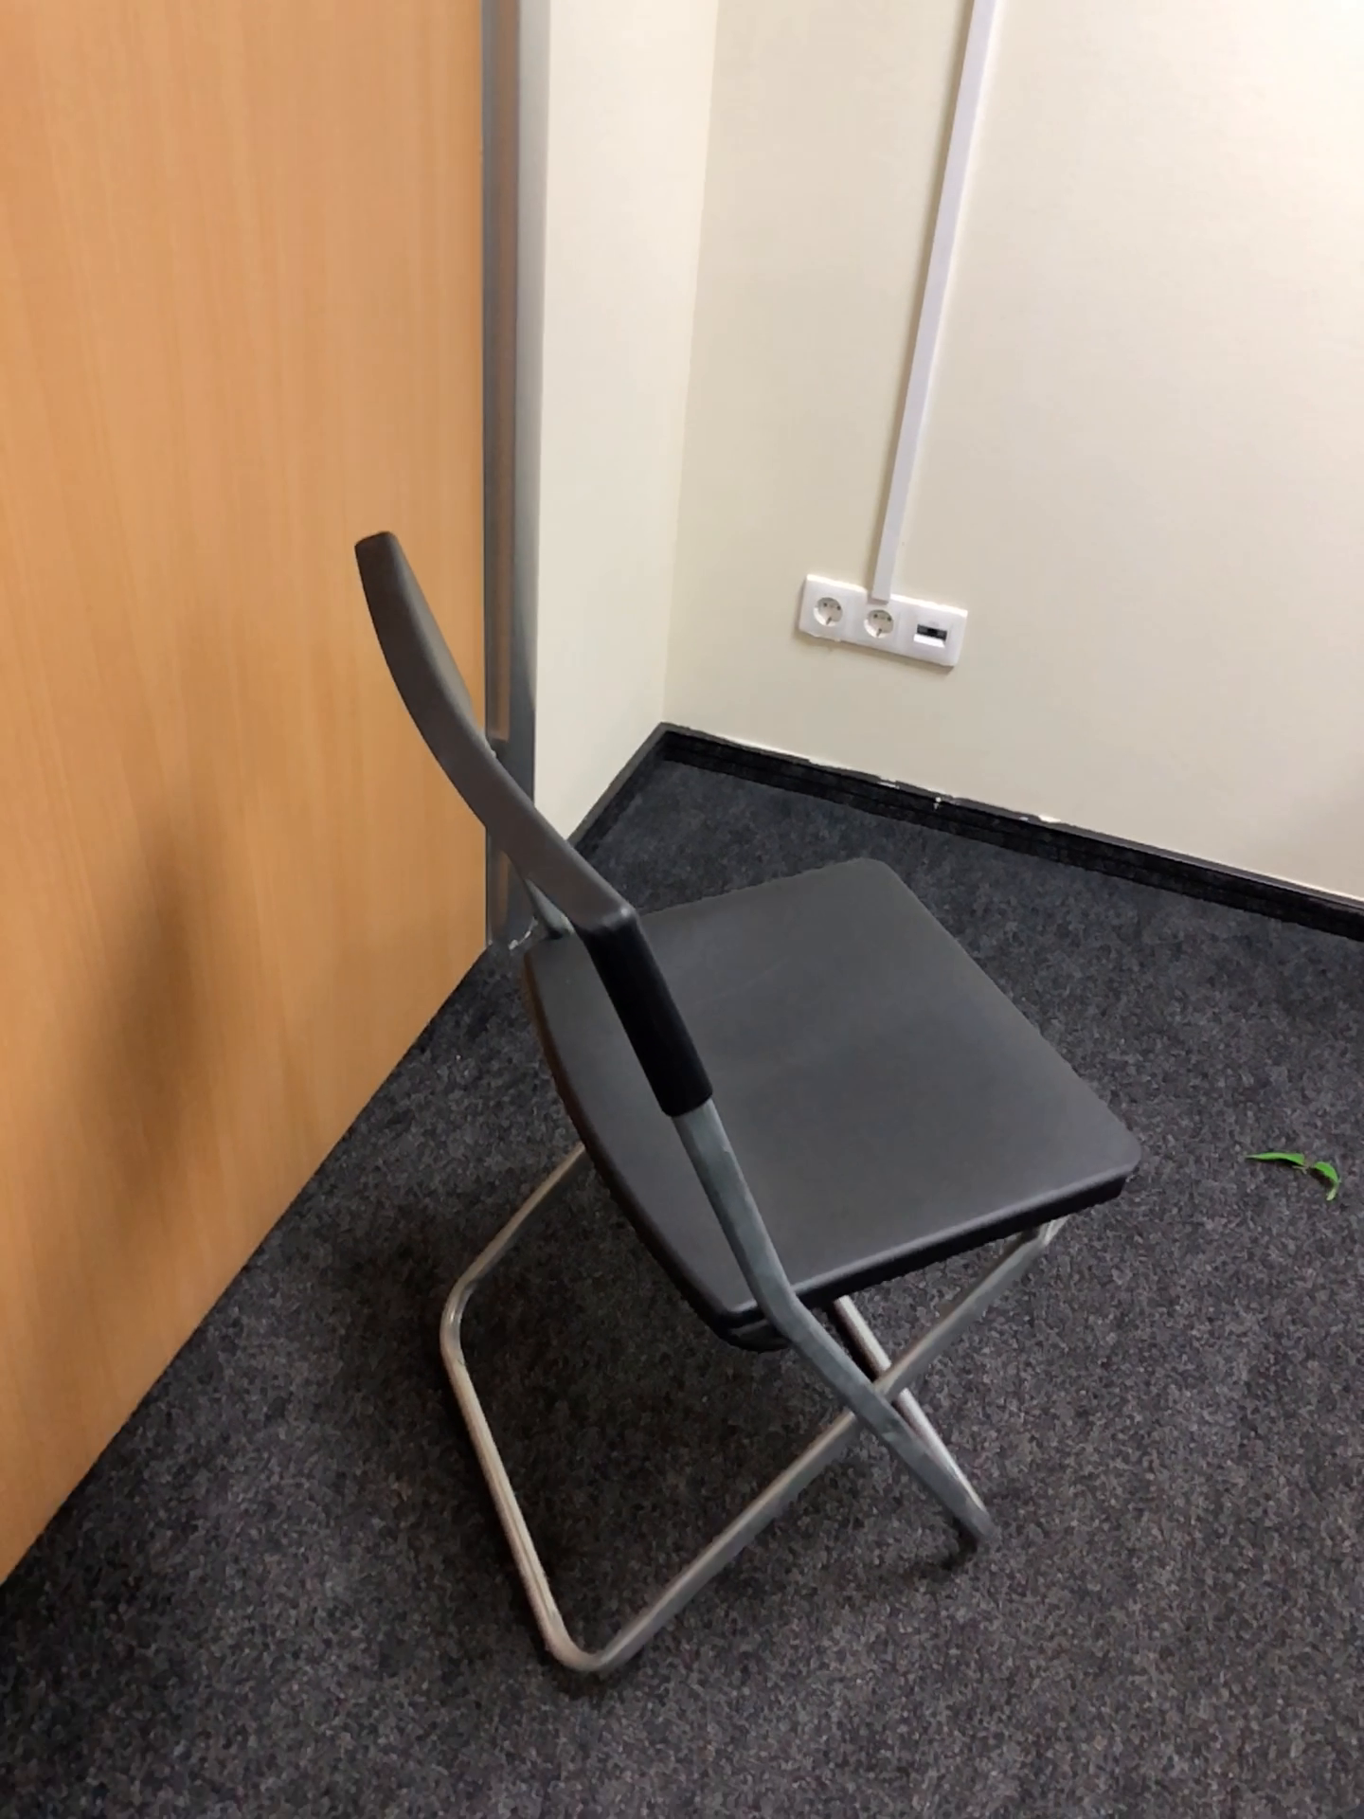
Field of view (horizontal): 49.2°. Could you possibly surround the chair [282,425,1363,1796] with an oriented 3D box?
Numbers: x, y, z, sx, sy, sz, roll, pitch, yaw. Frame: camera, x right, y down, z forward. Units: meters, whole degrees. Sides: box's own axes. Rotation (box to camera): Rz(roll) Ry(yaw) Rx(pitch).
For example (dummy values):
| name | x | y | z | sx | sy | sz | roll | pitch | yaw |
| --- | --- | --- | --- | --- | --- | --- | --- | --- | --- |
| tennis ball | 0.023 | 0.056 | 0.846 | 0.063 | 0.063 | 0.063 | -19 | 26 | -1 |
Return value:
| name | x | y | z | sx | sy | sz | roll | pitch | yaw |
| --- | --- | --- | --- | --- | --- | --- | --- | --- | --- |
| chair | 0.043 | 0.119 | 1.042 | 0.481 | 0.725 | 0.482 | -12 | 40 | -22 |
